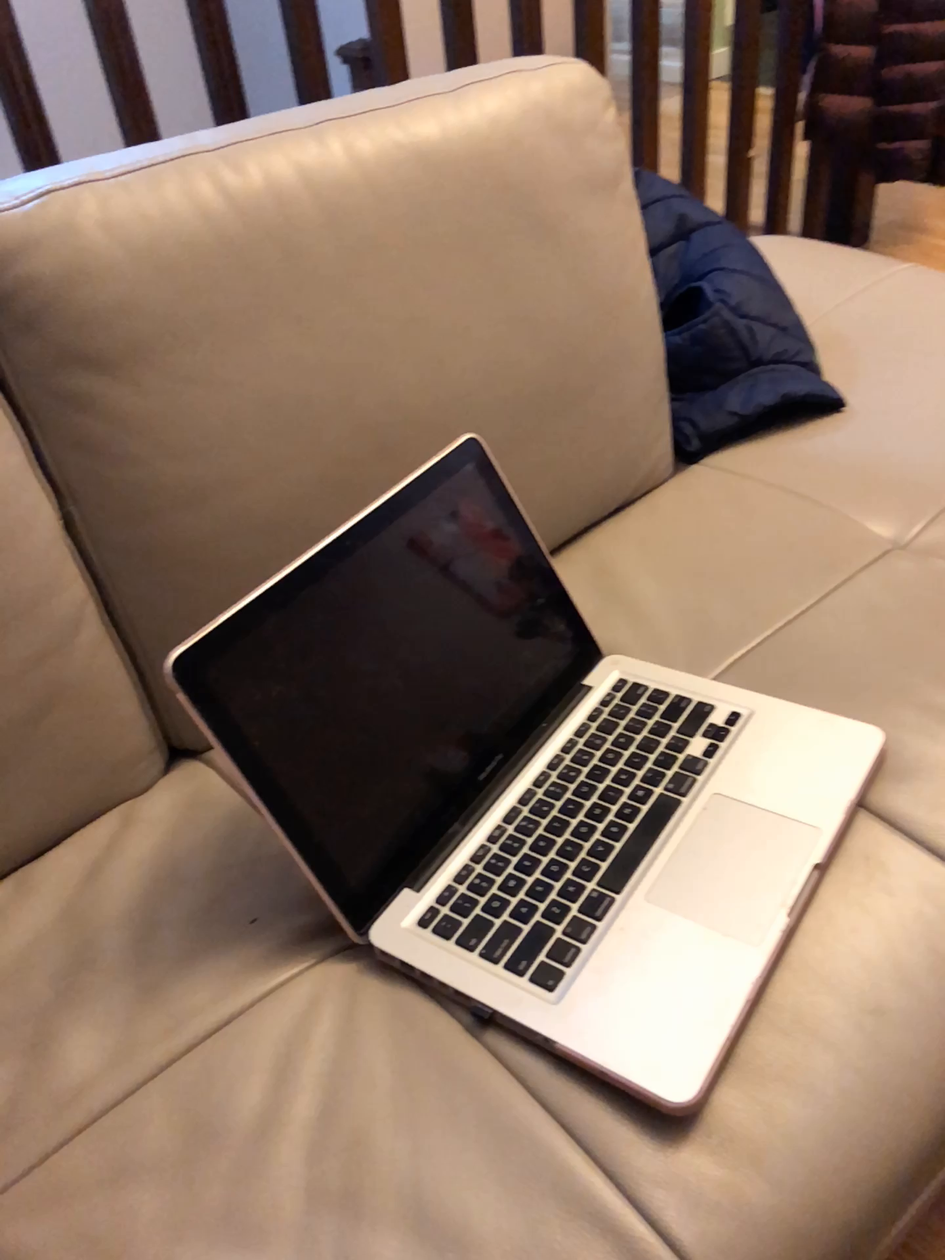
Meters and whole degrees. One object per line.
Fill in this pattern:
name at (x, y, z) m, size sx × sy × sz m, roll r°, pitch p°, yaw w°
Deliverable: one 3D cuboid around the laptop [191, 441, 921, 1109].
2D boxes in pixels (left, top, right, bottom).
laptop at (0.060, 0.050, 0.657) m, size 0.323 × 0.166 × 0.309 m, roll 18°, pitch 45°, yaw 32°
